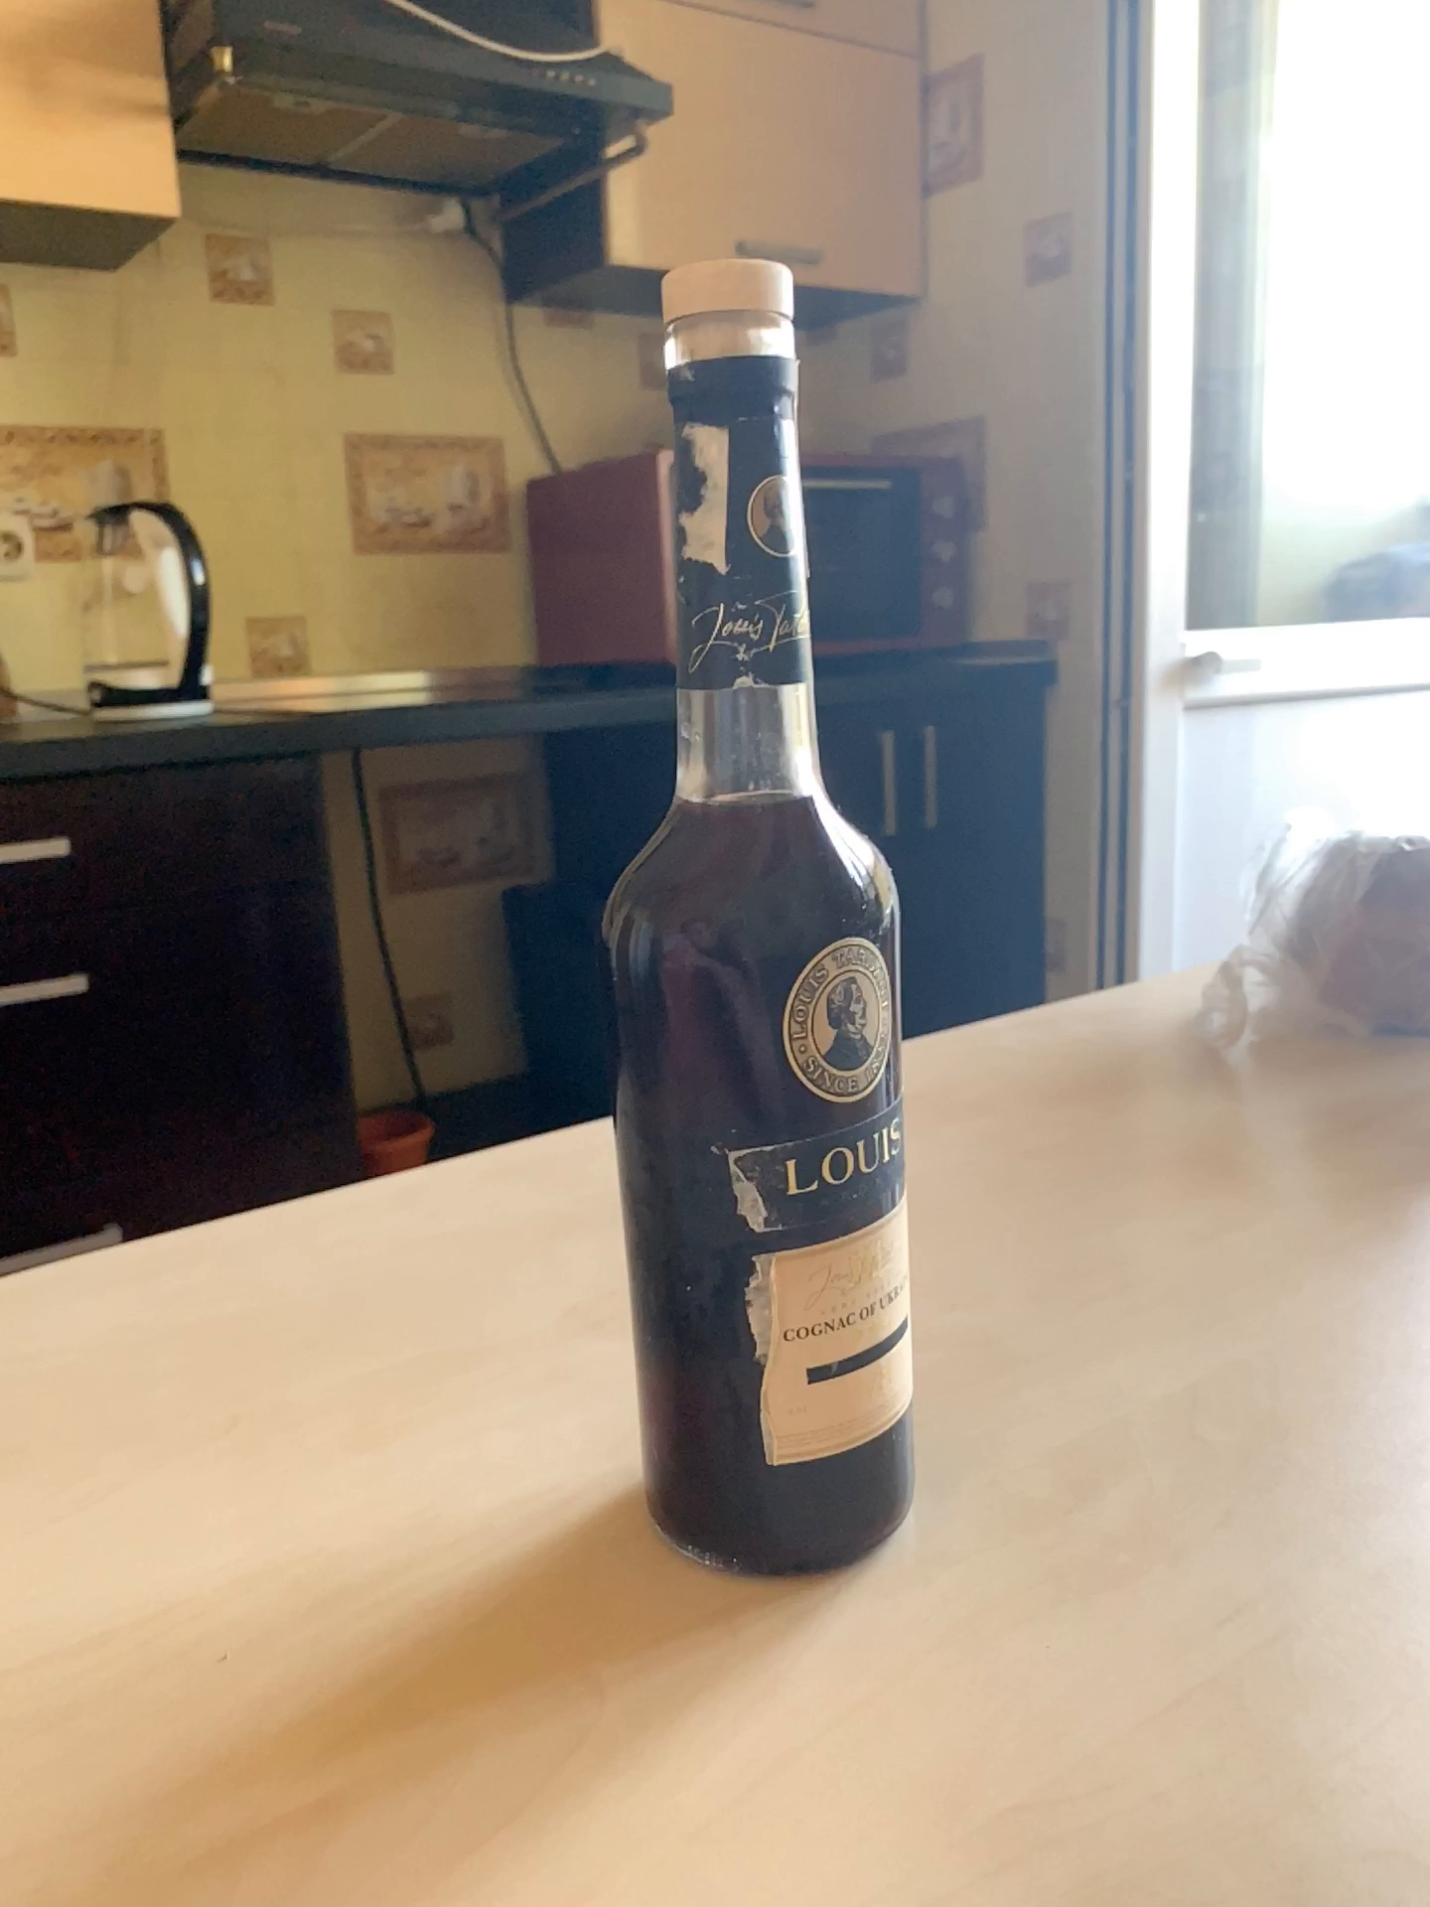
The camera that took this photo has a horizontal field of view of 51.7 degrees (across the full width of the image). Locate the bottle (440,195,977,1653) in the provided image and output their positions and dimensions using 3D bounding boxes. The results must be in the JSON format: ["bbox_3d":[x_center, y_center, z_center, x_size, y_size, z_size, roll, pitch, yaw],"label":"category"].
[{"bbox_3d":[0.005,-0.003,0.343,0.080,0.289,0.080,-2,12,0],"label":"bottle"}]
